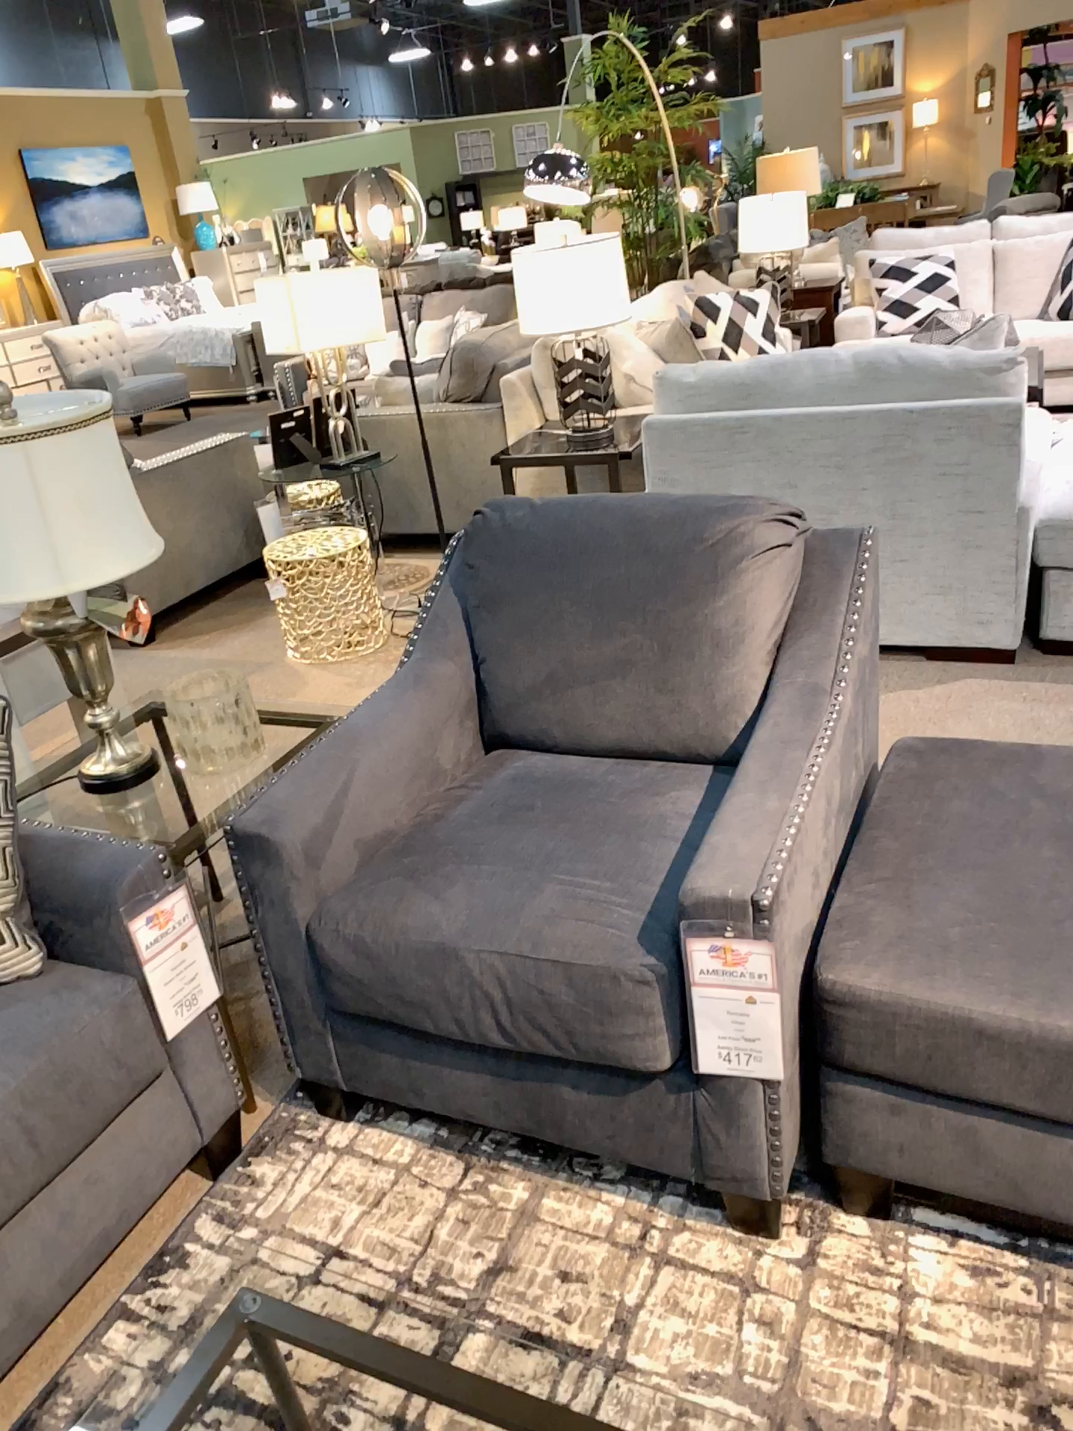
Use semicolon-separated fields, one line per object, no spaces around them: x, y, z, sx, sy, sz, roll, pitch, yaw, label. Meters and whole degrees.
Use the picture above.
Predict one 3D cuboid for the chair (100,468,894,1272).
0.062;0.126;1.864;0.921;0.840;0.960;4;27;25;chair
